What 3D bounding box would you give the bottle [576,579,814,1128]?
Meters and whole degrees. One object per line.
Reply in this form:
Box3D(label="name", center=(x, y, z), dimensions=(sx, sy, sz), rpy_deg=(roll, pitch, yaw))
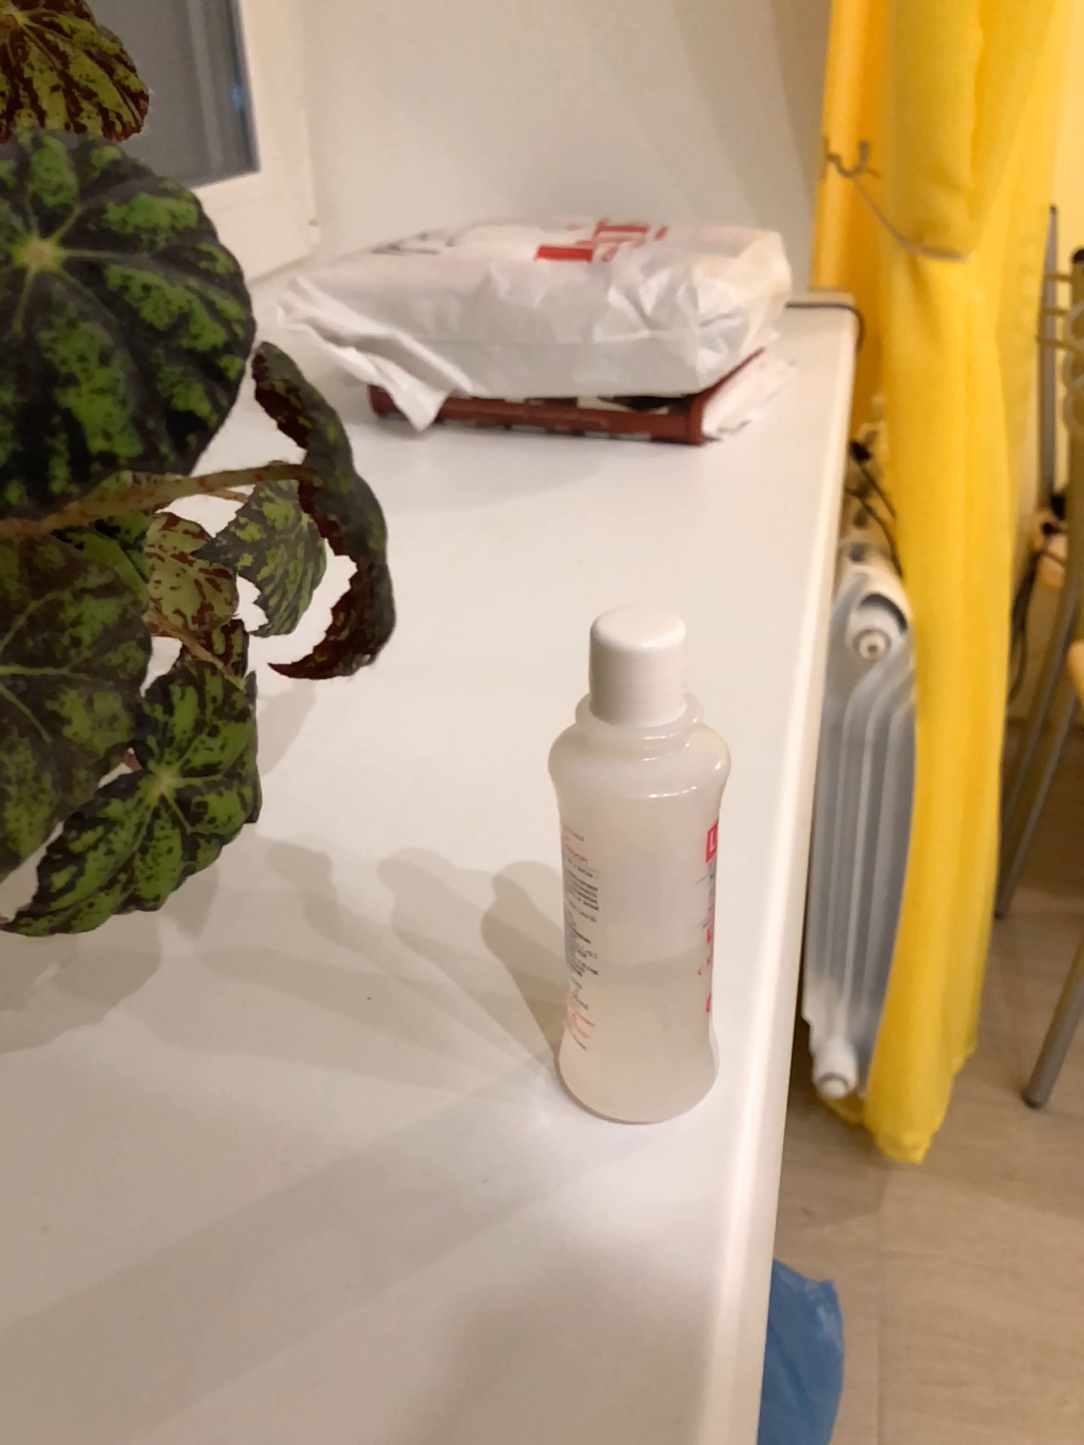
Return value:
Box3D(label="bottle", center=(0.028, 0.028, 0.242), dimensions=(0.036, 0.105, 0.037), rpy_deg=(-2, 29, 1))
